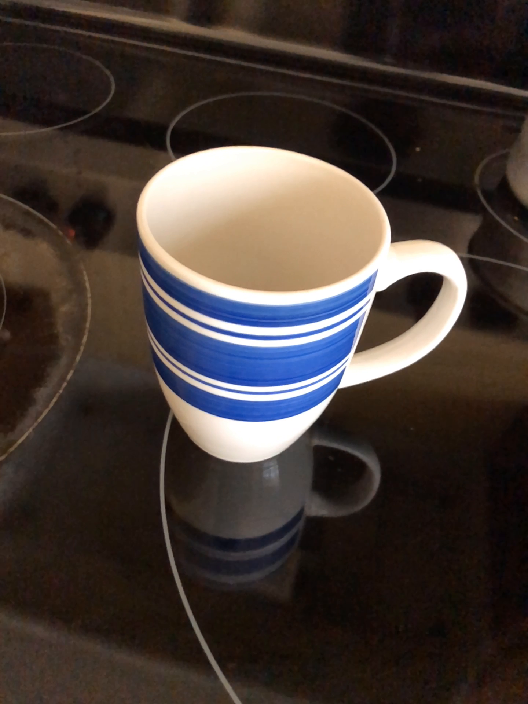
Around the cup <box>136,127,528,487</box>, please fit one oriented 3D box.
[{"bbox_3d":[0.020,-0.015,0.208,0.120,0.090,0.080,-2,48,-9],"label":"cup"}]
